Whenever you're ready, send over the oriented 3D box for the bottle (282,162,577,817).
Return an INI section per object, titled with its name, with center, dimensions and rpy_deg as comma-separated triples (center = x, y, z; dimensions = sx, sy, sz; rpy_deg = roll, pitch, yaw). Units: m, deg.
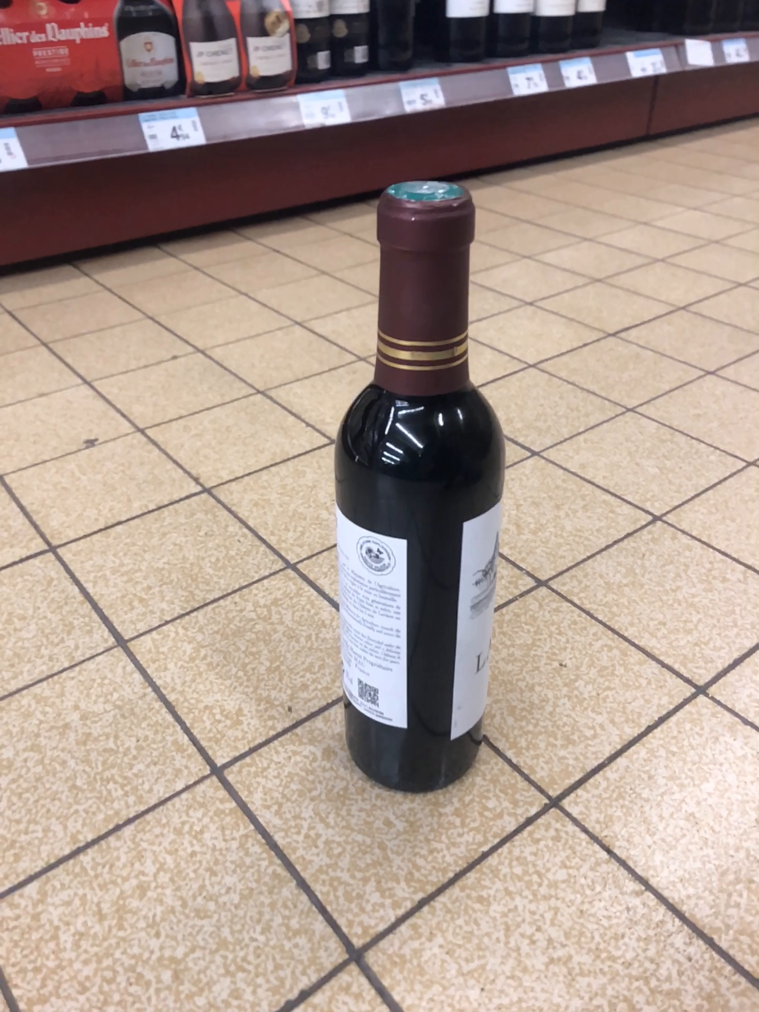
[bottle]
center = 0.012, 0.003, 0.298
dimensions = 0.060, 0.219, 0.070
rpy_deg = -13, 35, -18
